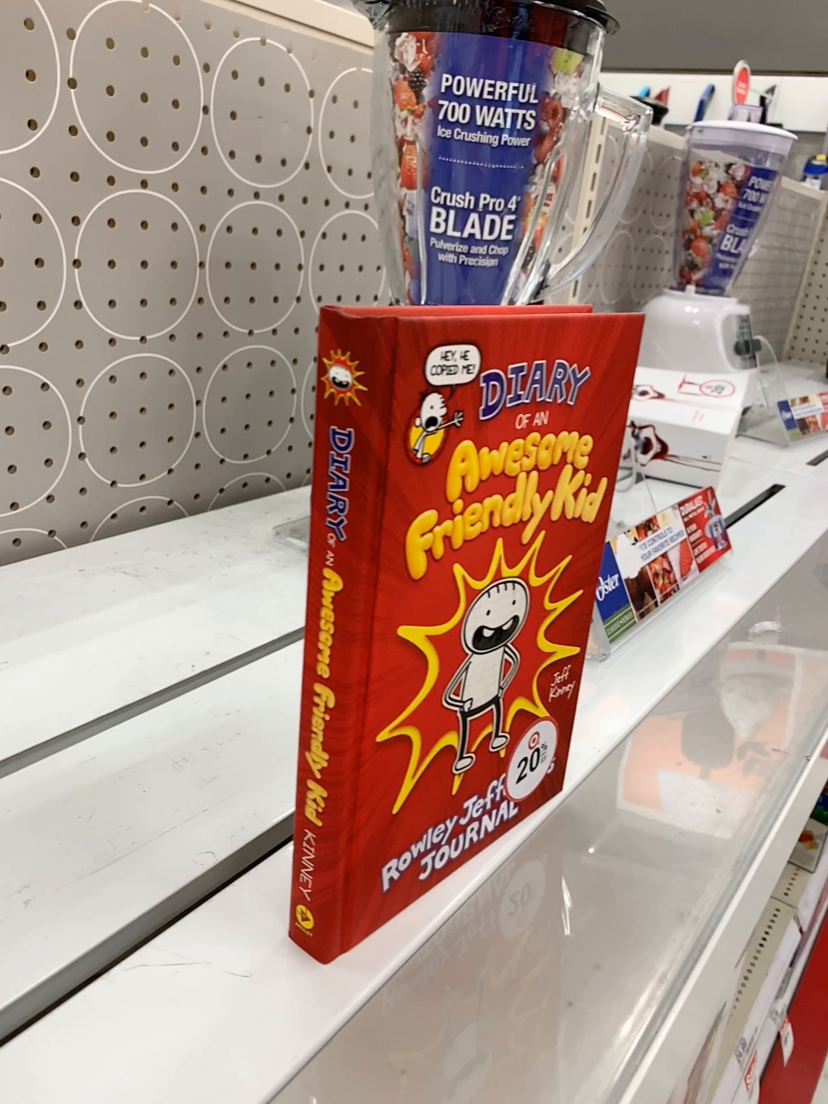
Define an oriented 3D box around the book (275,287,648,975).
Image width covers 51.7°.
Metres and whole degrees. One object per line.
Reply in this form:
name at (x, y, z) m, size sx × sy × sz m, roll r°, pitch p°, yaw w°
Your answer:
book at (0.018, 0.019, 0.299) m, size 0.030 × 0.209 × 0.140 m, roll 20°, pitch 25°, yaw 36°
